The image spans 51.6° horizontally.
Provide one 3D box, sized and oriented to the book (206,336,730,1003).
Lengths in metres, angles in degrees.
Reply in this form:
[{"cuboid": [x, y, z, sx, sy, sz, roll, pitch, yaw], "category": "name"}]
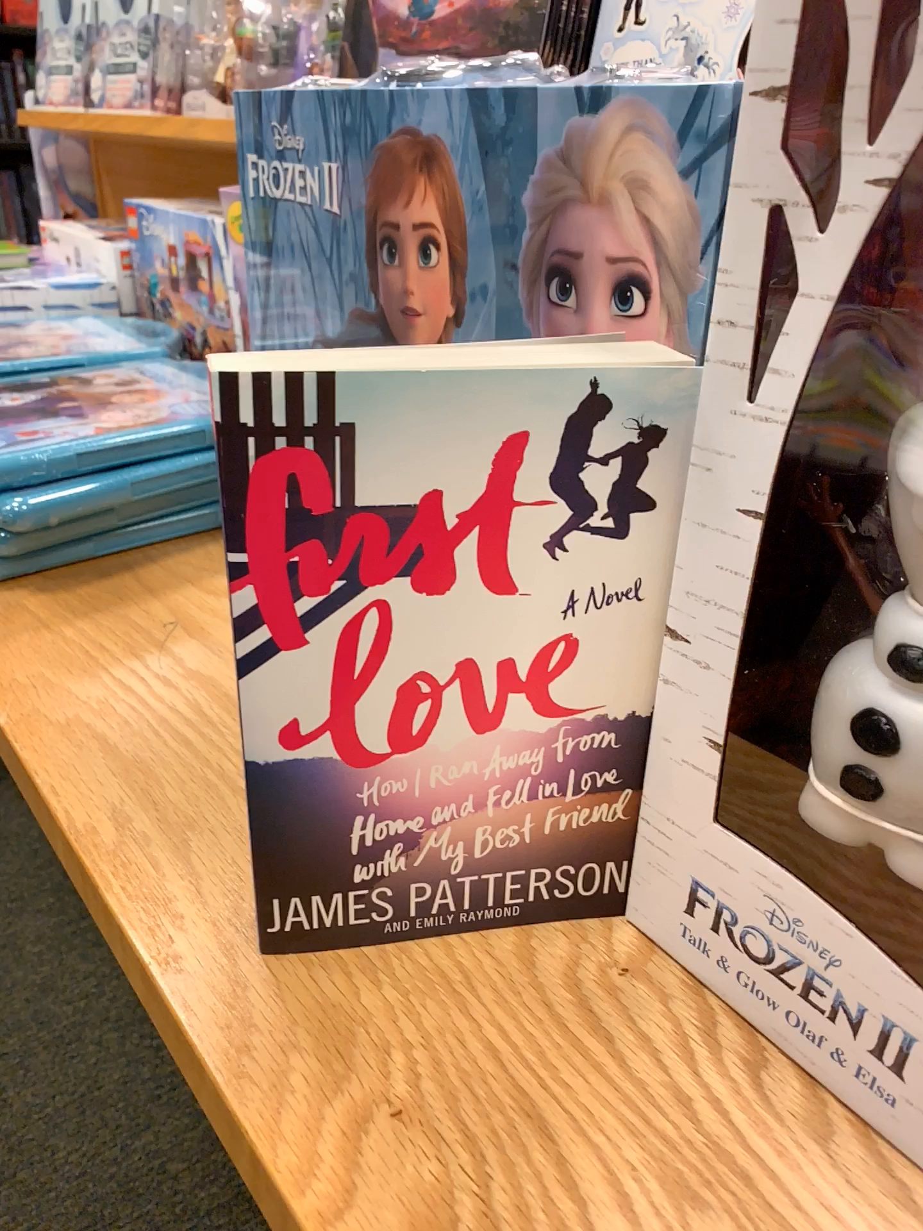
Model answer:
[{"cuboid": [-0.004, 0.018, 0.318, 0.142, 0.205, 0.059, -4, 25, -13], "category": "book"}]
